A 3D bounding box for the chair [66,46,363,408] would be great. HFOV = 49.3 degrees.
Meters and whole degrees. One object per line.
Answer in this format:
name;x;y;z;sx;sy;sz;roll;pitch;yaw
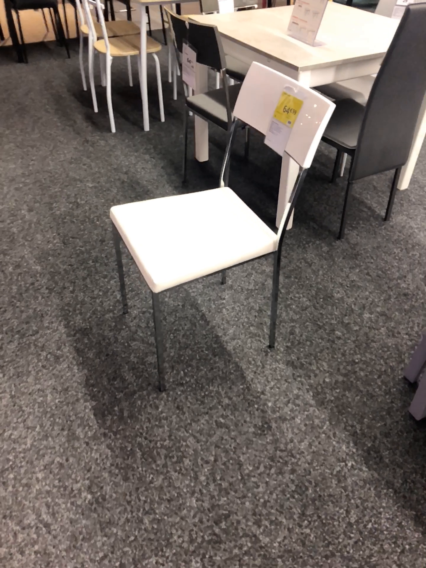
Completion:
chair;-0.022;-0.170;1.372;0.542;0.815;0.501;-18;44;-21
